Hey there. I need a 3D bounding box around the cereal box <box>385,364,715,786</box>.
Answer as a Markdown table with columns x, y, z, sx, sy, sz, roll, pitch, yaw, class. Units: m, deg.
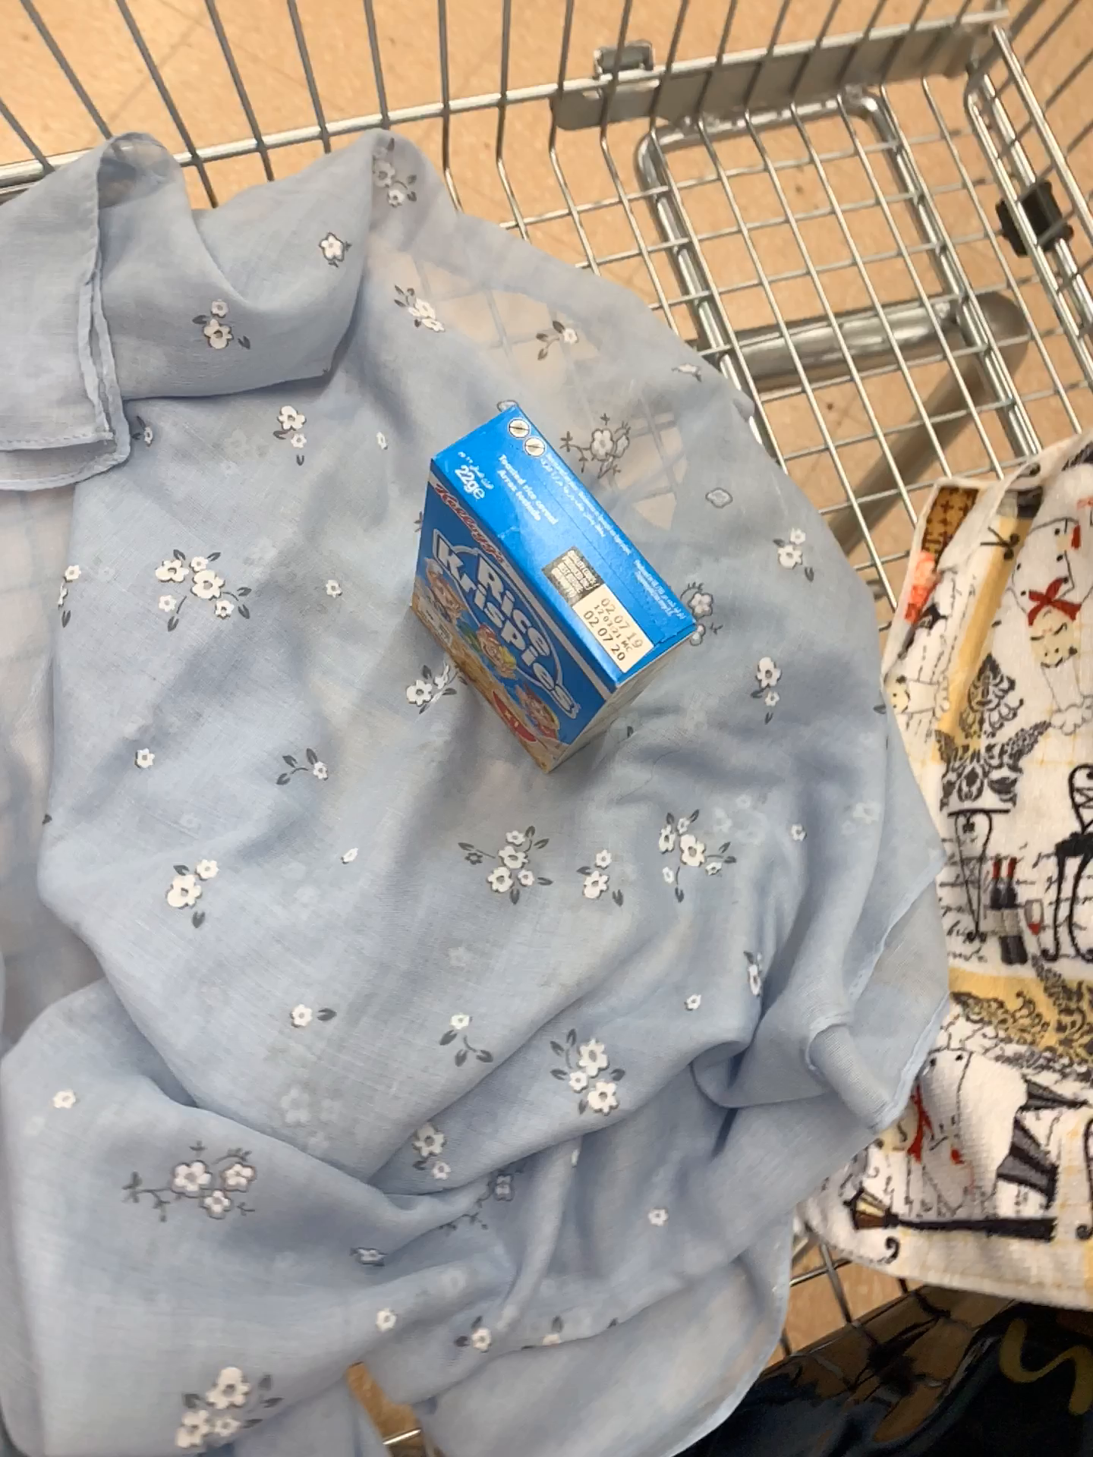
| x | y | z | sx | sy | sz | roll | pitch | yaw | class |
| --- | --- | --- | --- | --- | --- | --- | --- | --- | --- |
| -0.008 | -0.043 | 0.391 | 0.040 | 0.140 | 0.100 | -39 | 85 | -14 | cereal box |
